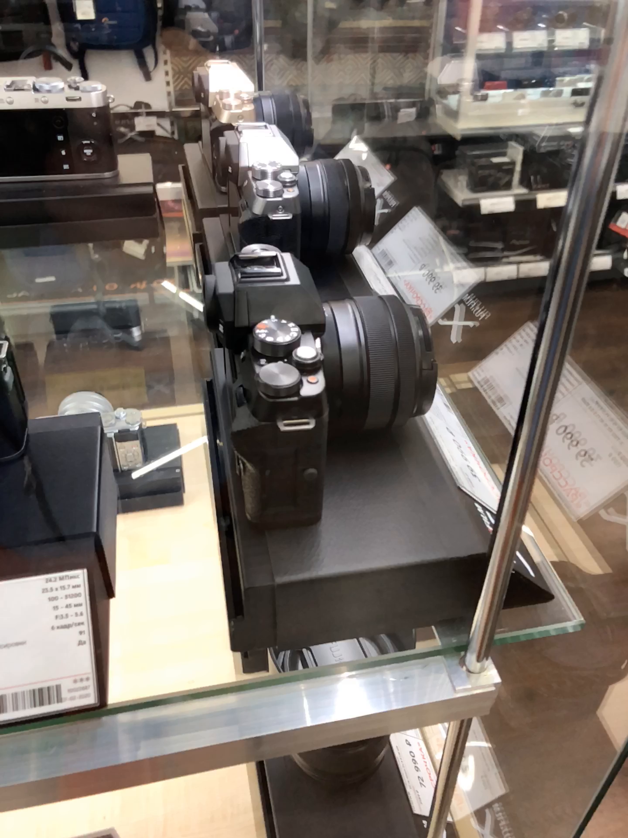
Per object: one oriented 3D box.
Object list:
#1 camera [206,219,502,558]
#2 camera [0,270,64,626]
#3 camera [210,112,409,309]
[{"bbox_3d":[0.007,-0.020,0.308,0.095,0.089,0.121,-5,38,-9],"label":"camera"},{"bbox_3d":[-0.165,0.003,0.260,0.120,0.069,0.100,-8,39,-12],"label":"camera"},{"bbox_3d":[-0.009,-0.138,0.442,0.099,0.078,0.121,-6,38,-10],"label":"camera"}]
